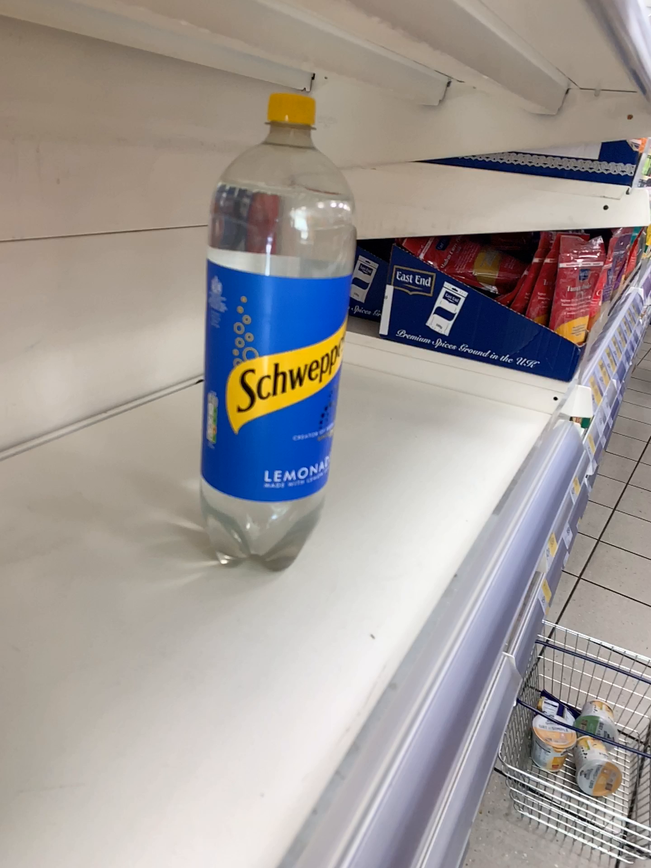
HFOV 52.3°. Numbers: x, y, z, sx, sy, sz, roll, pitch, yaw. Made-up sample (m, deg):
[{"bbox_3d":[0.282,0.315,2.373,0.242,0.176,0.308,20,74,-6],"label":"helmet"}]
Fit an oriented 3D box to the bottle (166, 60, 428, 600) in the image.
[{"bbox_3d":[-0.035,-0.065,0.463,0.110,0.327,0.111,6,23,-3],"label":"bottle"}]
